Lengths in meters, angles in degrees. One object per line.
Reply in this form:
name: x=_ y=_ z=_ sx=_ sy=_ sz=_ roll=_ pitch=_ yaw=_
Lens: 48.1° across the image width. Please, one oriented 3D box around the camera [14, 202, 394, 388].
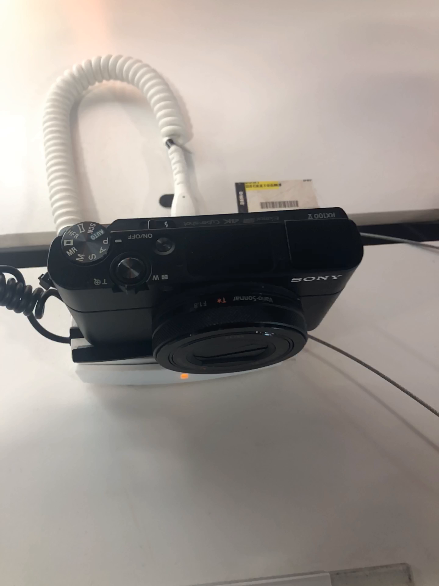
camera: x=-0.005 y=0.004 z=0.166 sx=0.101 sy=0.063 sz=0.032 roll=-4 pitch=65 yaw=-4
